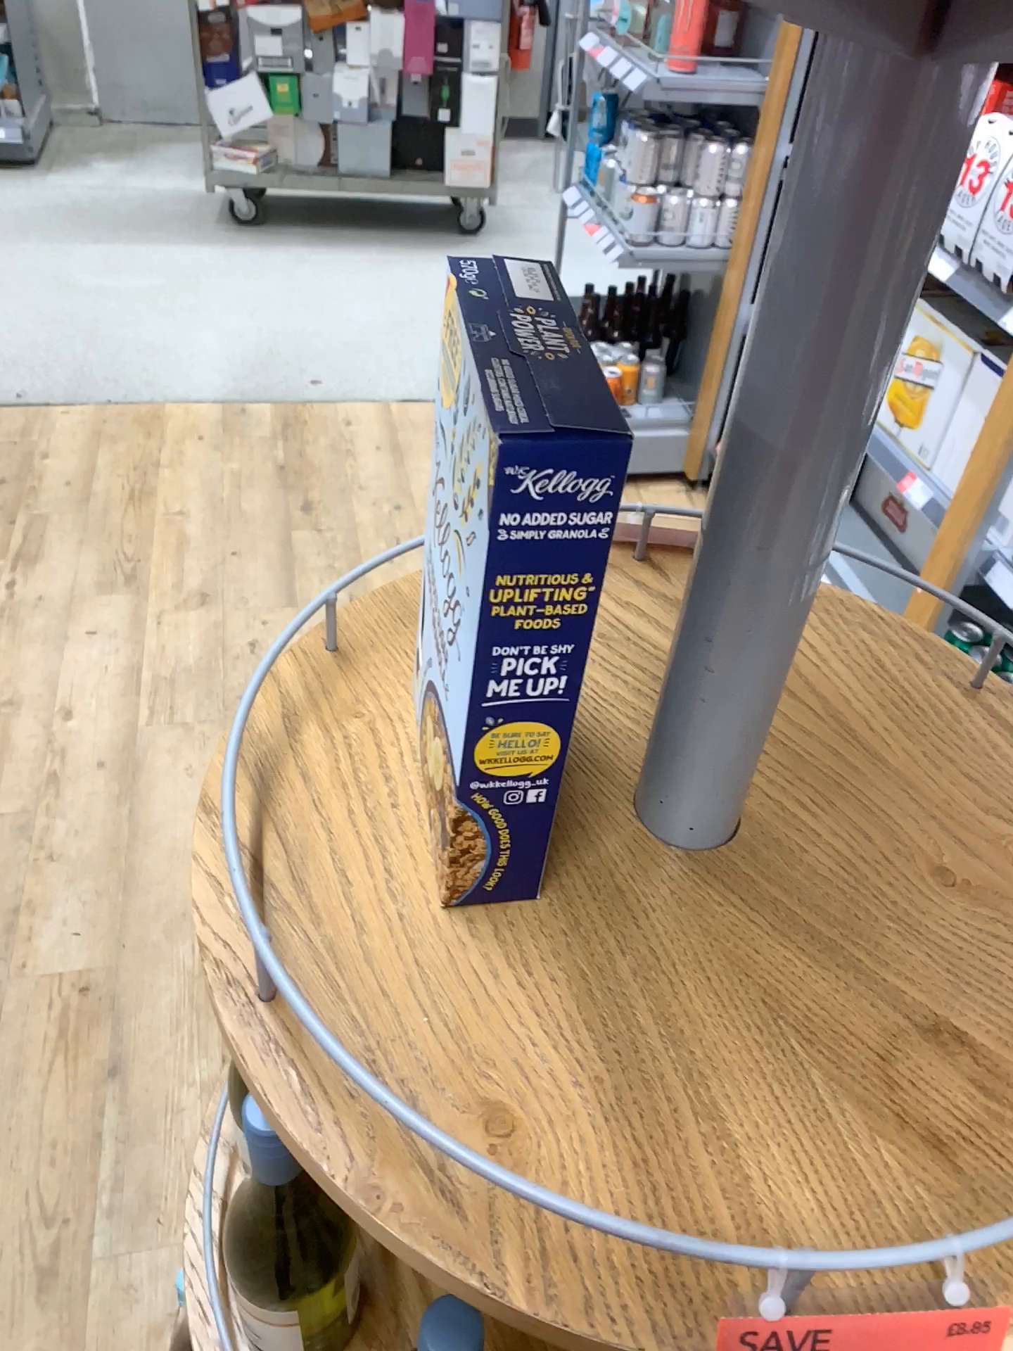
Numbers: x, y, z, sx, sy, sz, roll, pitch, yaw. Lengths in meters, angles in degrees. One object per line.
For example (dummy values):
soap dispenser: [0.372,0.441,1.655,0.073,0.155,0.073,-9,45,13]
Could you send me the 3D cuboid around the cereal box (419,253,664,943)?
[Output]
cereal box: [-0.001,-0.029,0.458,0.050,0.248,0.172,0,41,-10]
